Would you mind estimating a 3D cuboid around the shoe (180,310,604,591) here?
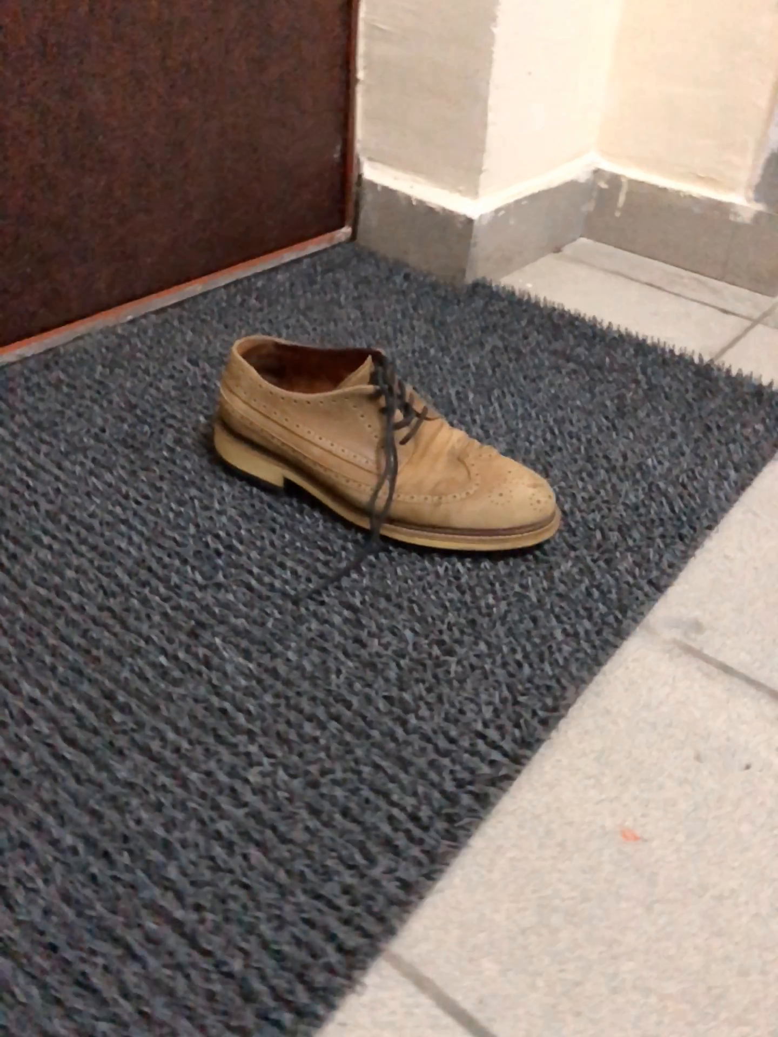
[{"bbox_3d":[-0.002,-0.063,0.669,0.300,0.099,0.111,19,39,17],"label":"shoe"}]
